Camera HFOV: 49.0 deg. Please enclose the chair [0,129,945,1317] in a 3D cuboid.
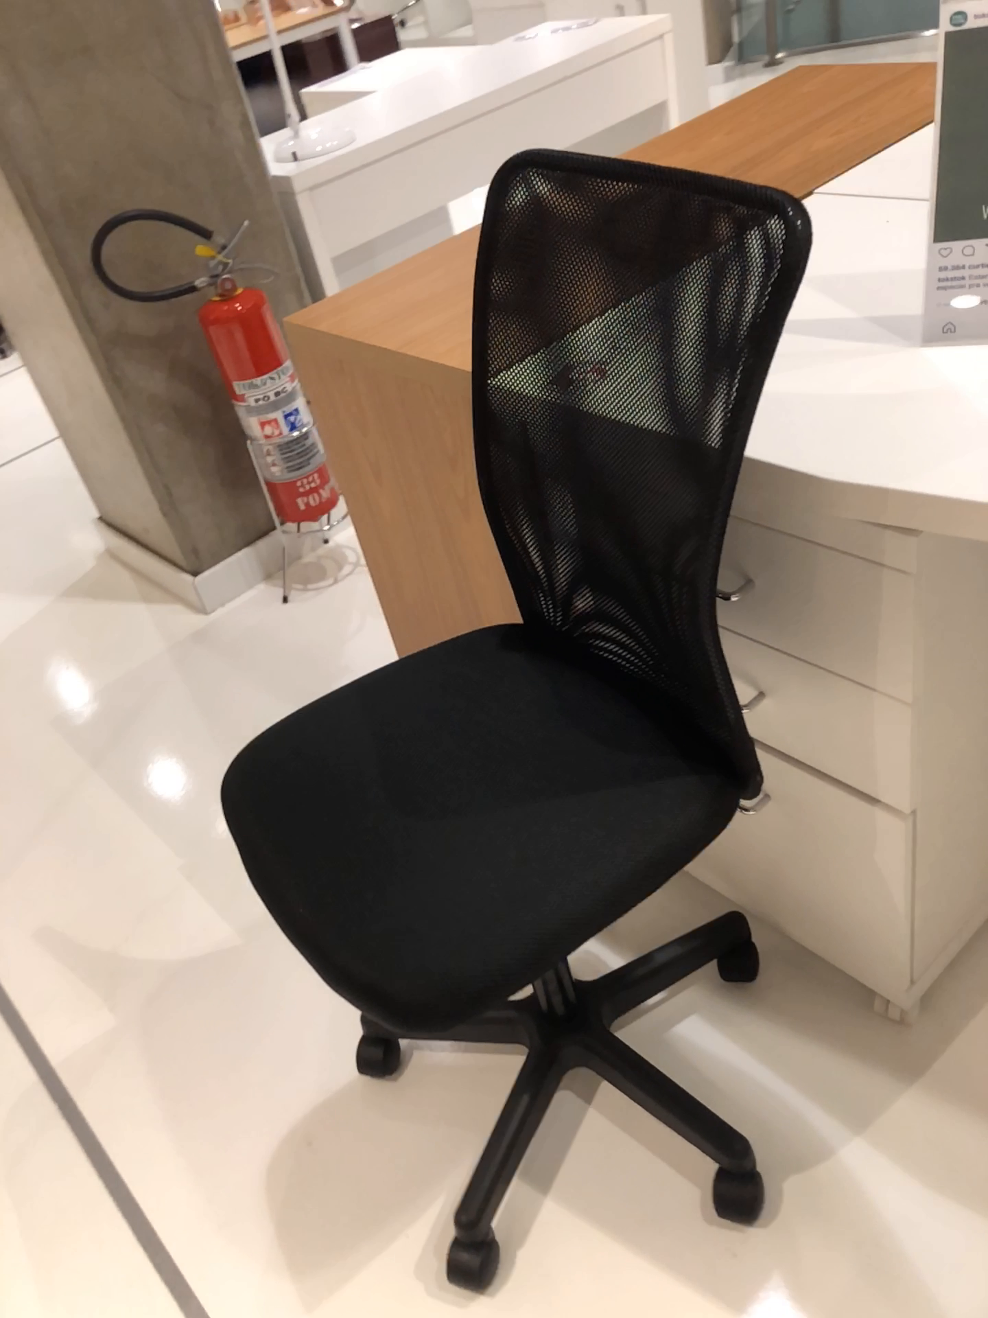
[{"bbox_3d":[-0.016,0.097,1.035,0.571,0.923,0.563,-29,39,-18],"label":"chair"}]
